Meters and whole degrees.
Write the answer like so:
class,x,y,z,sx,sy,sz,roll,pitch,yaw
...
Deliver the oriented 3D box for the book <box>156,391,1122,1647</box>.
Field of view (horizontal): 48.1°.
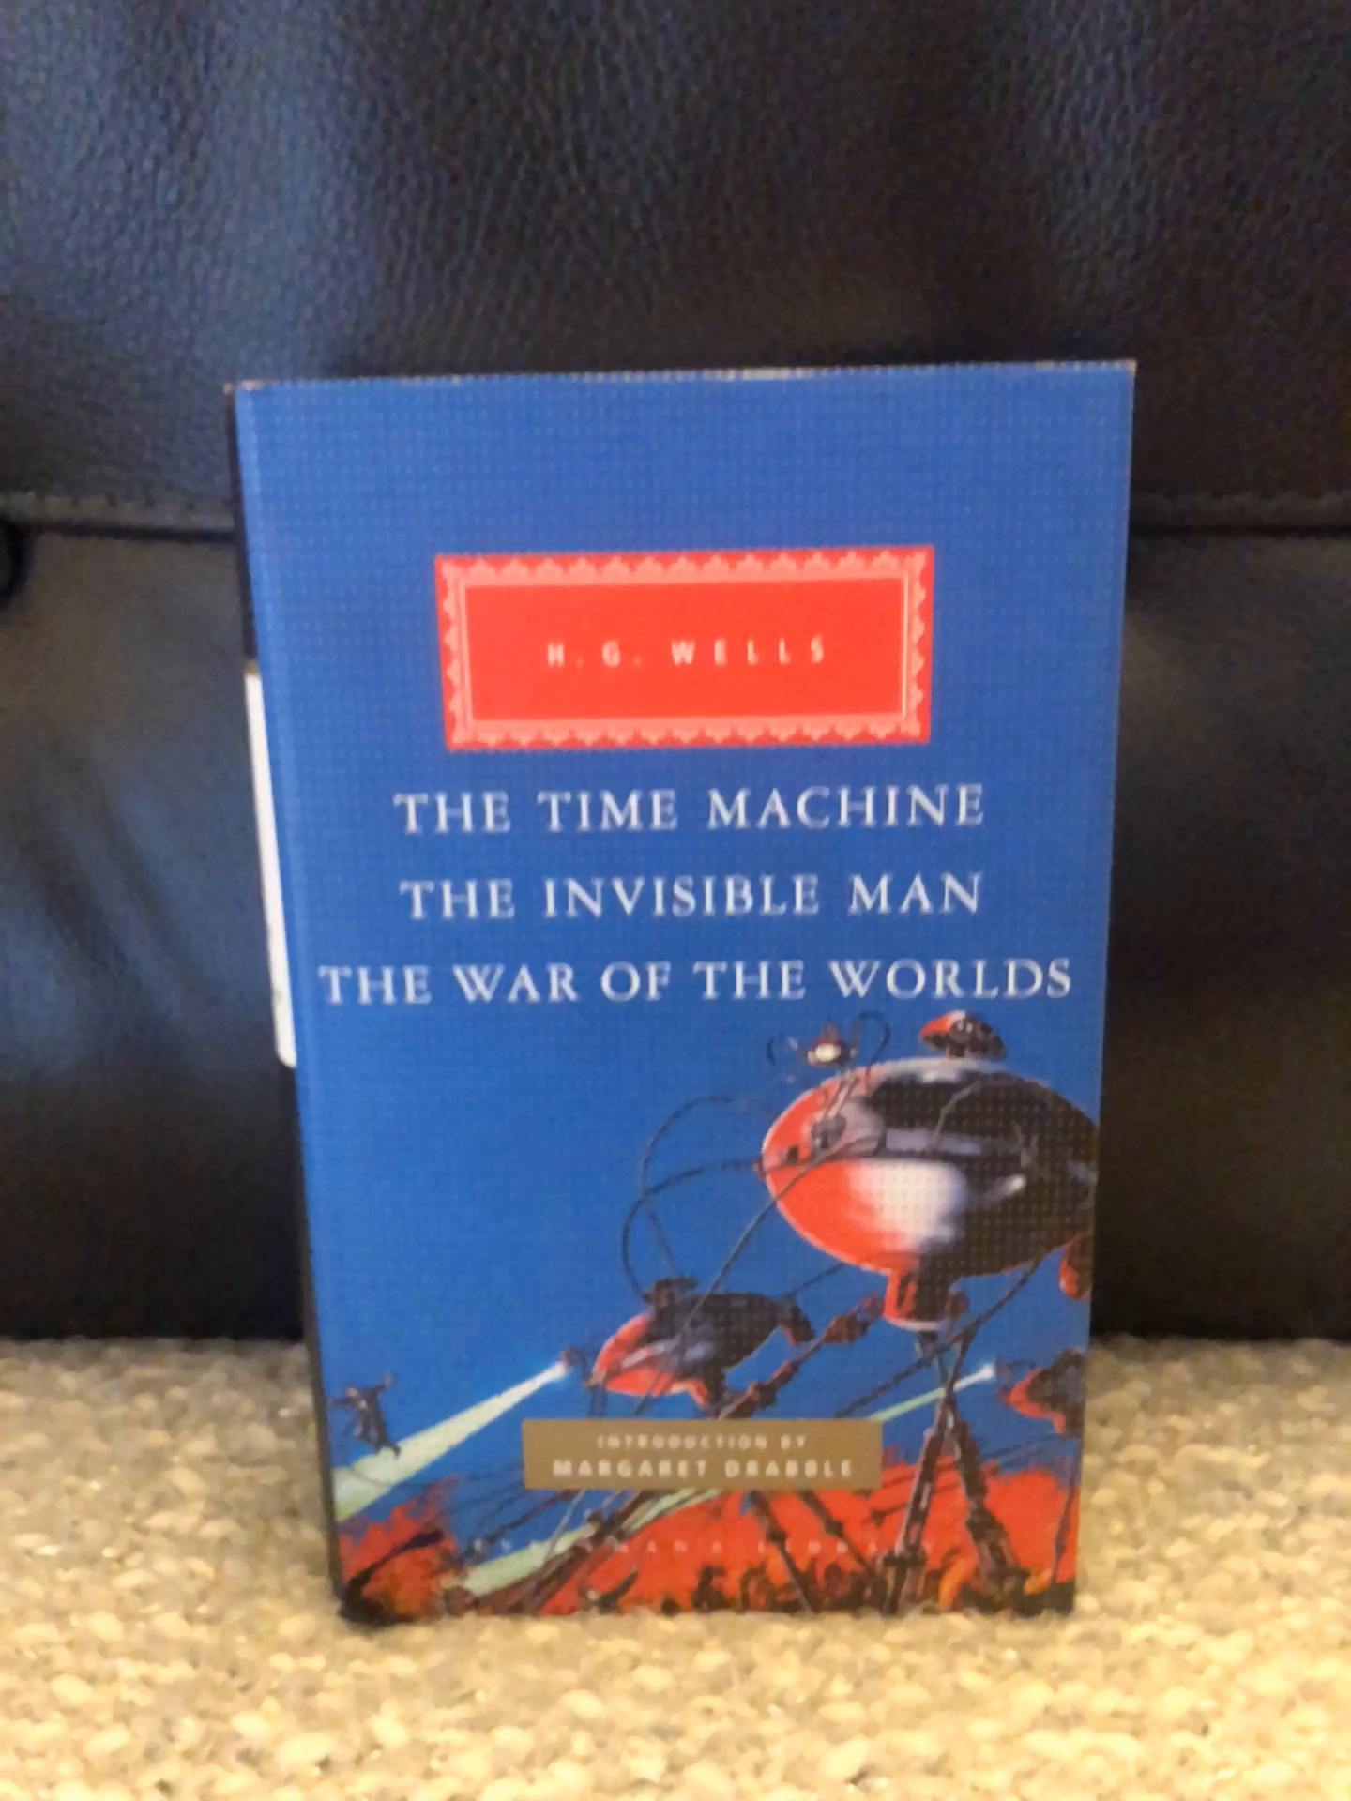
class,x,y,z,sx,sy,sz,roll,pitch,yaw
book,-0.003,0.028,0.277,0.148,0.225,0.034,-1,15,0
